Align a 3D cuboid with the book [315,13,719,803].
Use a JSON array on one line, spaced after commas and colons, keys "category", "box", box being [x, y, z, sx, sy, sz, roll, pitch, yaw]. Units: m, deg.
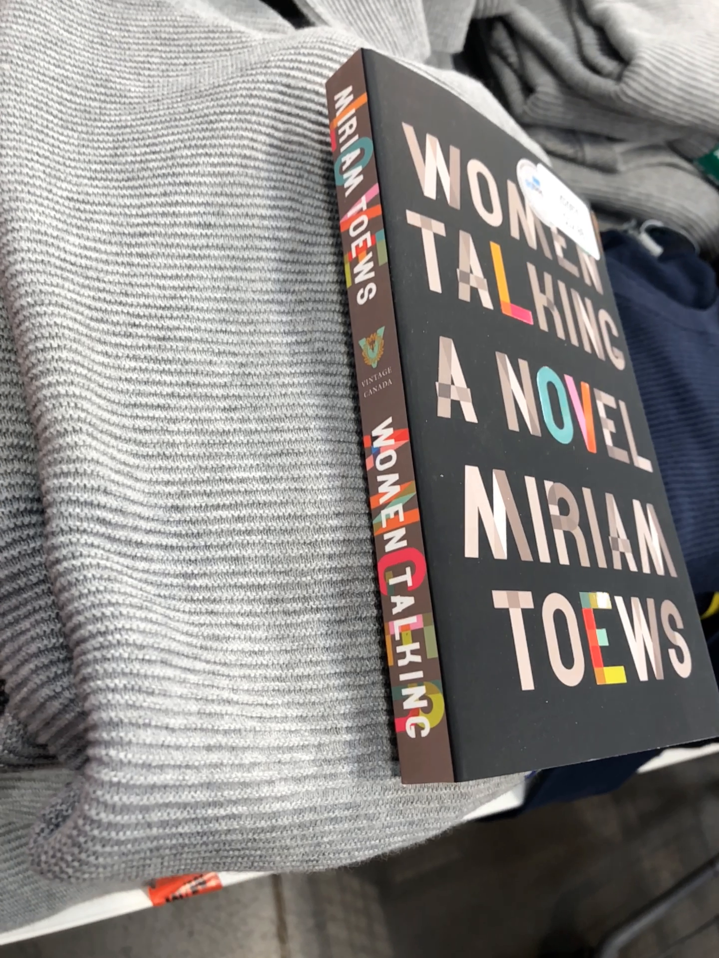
[{"category": "book", "box": [0.054, -0.021, 0.251, 0.135, 0.020, 0.211, 10, 67, -42]}]
